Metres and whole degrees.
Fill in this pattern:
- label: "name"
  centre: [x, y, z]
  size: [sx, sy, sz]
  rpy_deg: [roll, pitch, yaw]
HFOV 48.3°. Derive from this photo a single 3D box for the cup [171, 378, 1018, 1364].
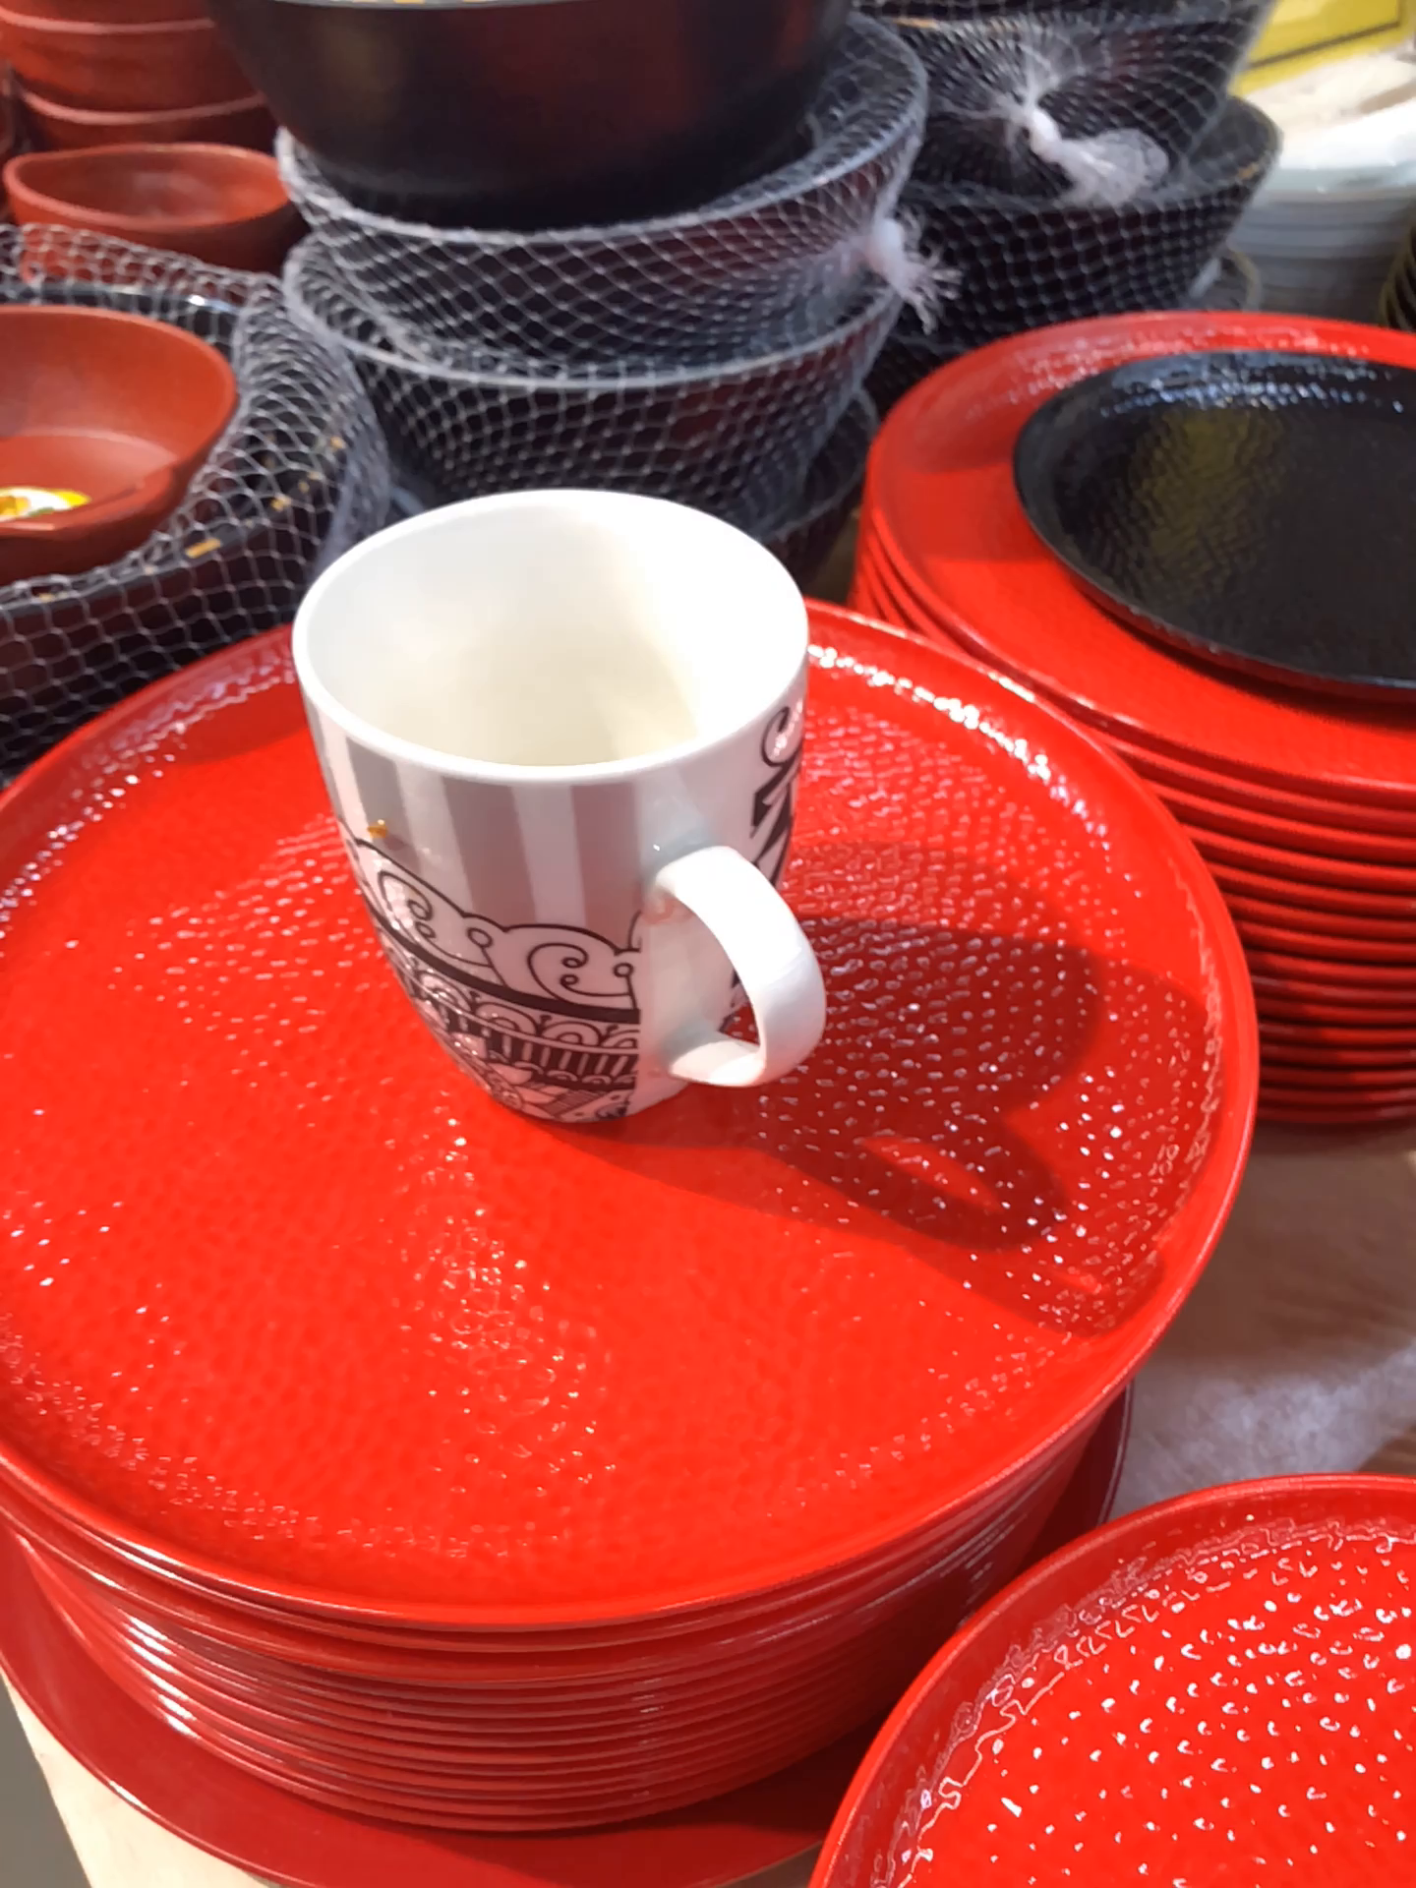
- label: "cup"
  centre: [-0.024, -0.018, 0.273]
  size: [0.080, 0.099, 0.120]
  rpy_deg: [-22, 48, -23]
